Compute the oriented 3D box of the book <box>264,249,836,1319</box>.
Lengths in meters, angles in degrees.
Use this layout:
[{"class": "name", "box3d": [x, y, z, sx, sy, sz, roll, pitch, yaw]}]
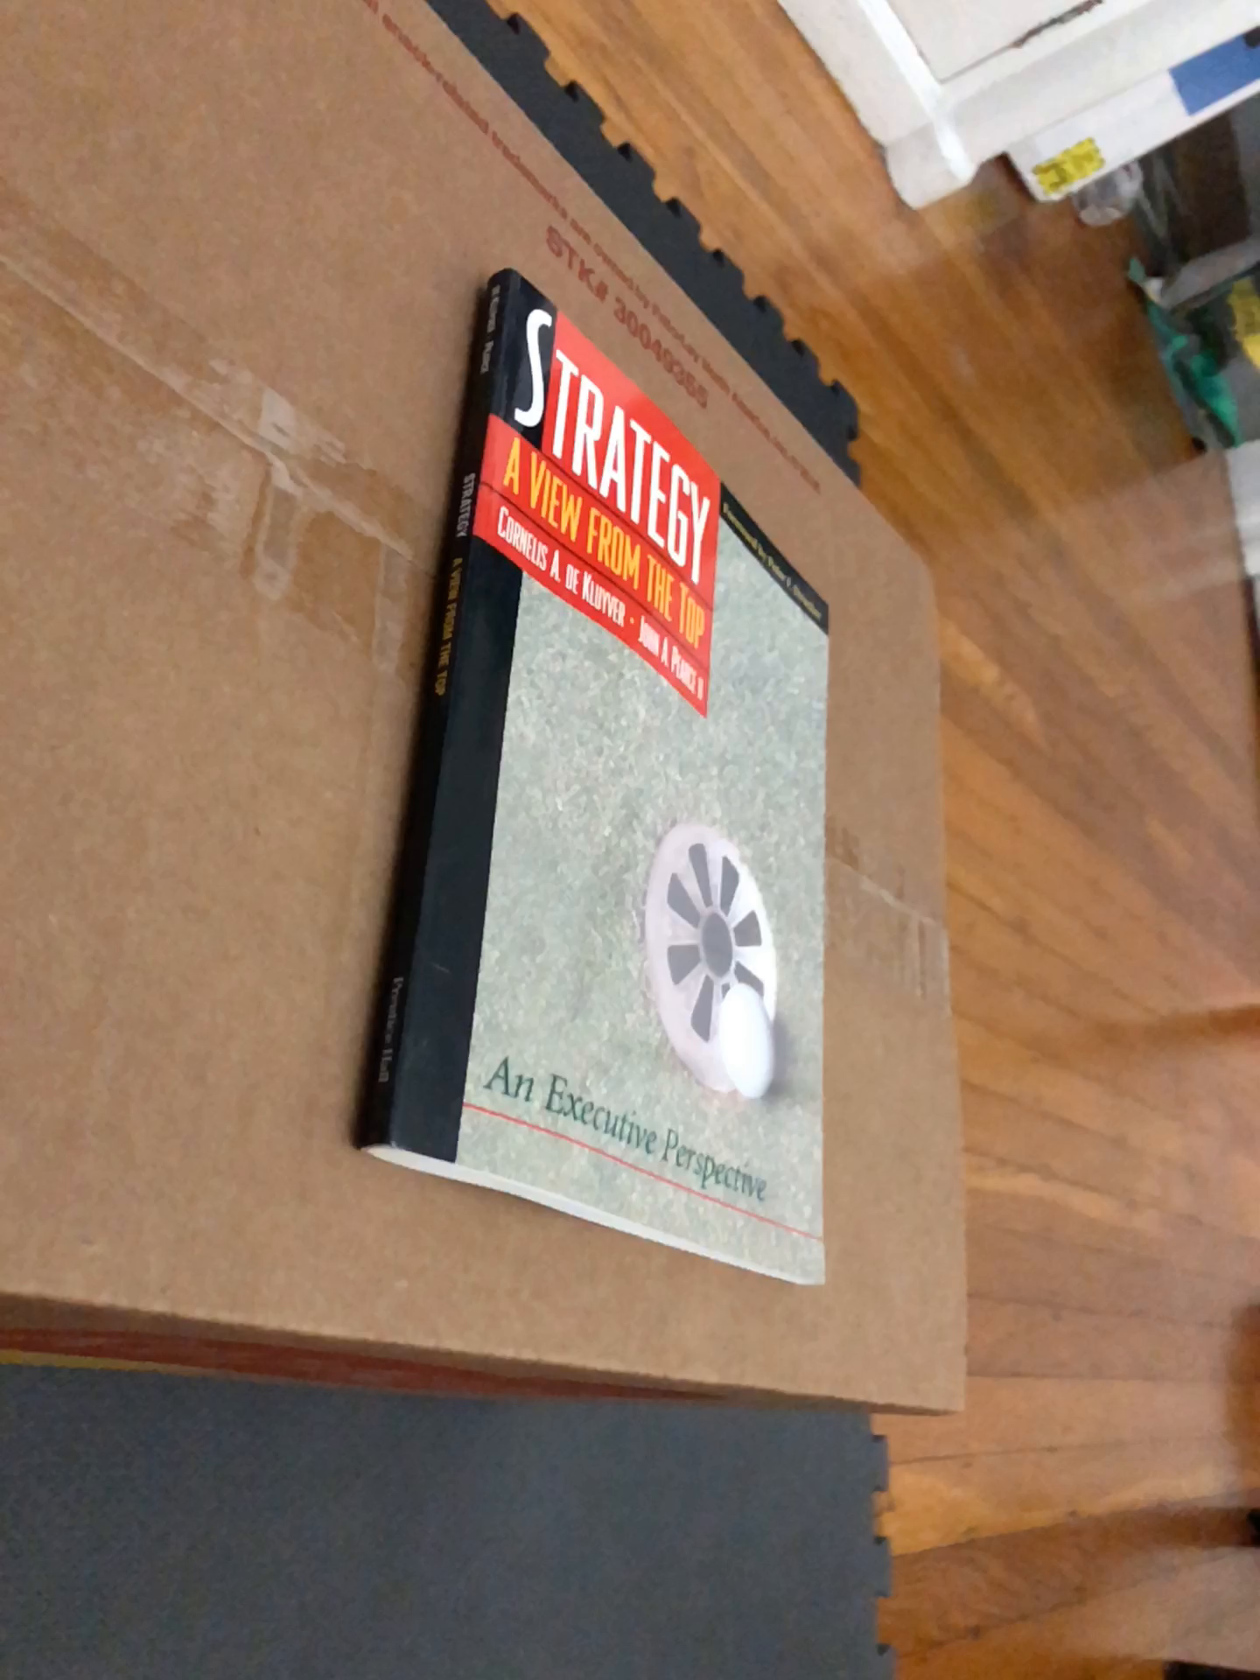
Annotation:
[{"class": "book", "box3d": [0.001, -0.009, 0.379, 0.181, 0.020, 0.240, 33, 53, -44]}]
